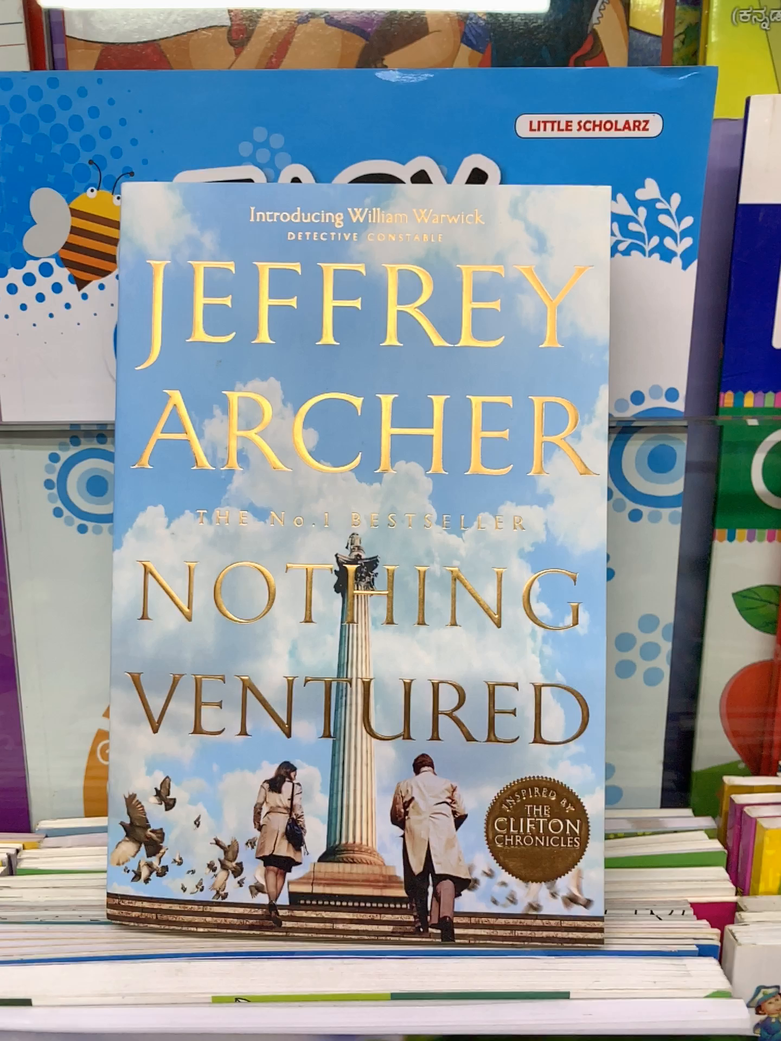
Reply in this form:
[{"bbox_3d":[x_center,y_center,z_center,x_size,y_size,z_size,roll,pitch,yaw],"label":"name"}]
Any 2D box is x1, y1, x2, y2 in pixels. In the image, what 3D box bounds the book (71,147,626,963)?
[{"bbox_3d":[-0.010,0.006,0.209,0.130,0.190,0.030,1,-2,3],"label":"book"}]
